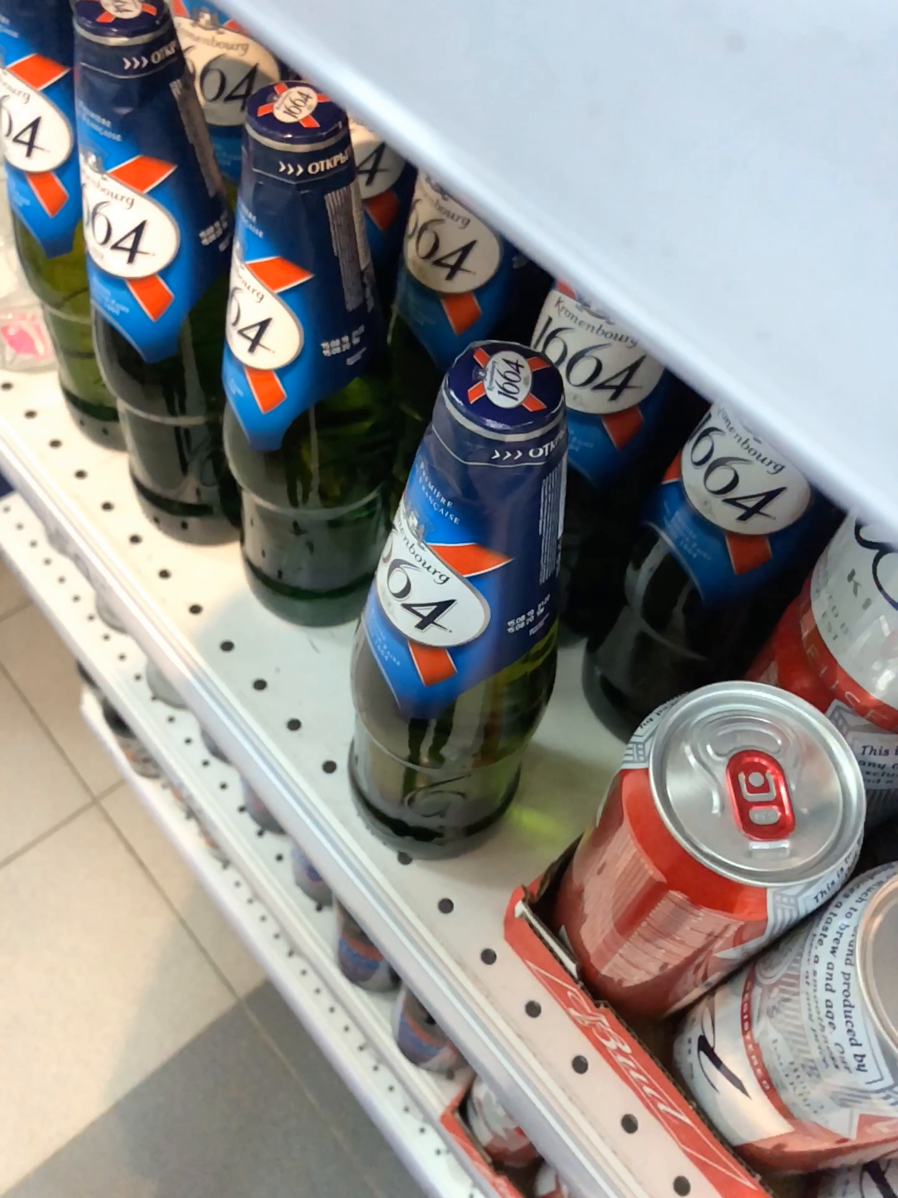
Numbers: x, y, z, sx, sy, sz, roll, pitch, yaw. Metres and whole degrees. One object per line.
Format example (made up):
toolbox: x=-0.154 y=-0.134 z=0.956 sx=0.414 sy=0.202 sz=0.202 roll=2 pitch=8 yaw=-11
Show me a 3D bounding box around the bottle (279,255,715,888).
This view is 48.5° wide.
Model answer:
bottle: x=0.001 y=0.011 z=0.320 sx=0.080 sy=0.219 sz=0.080 roll=2 pitch=57 yaw=-3
